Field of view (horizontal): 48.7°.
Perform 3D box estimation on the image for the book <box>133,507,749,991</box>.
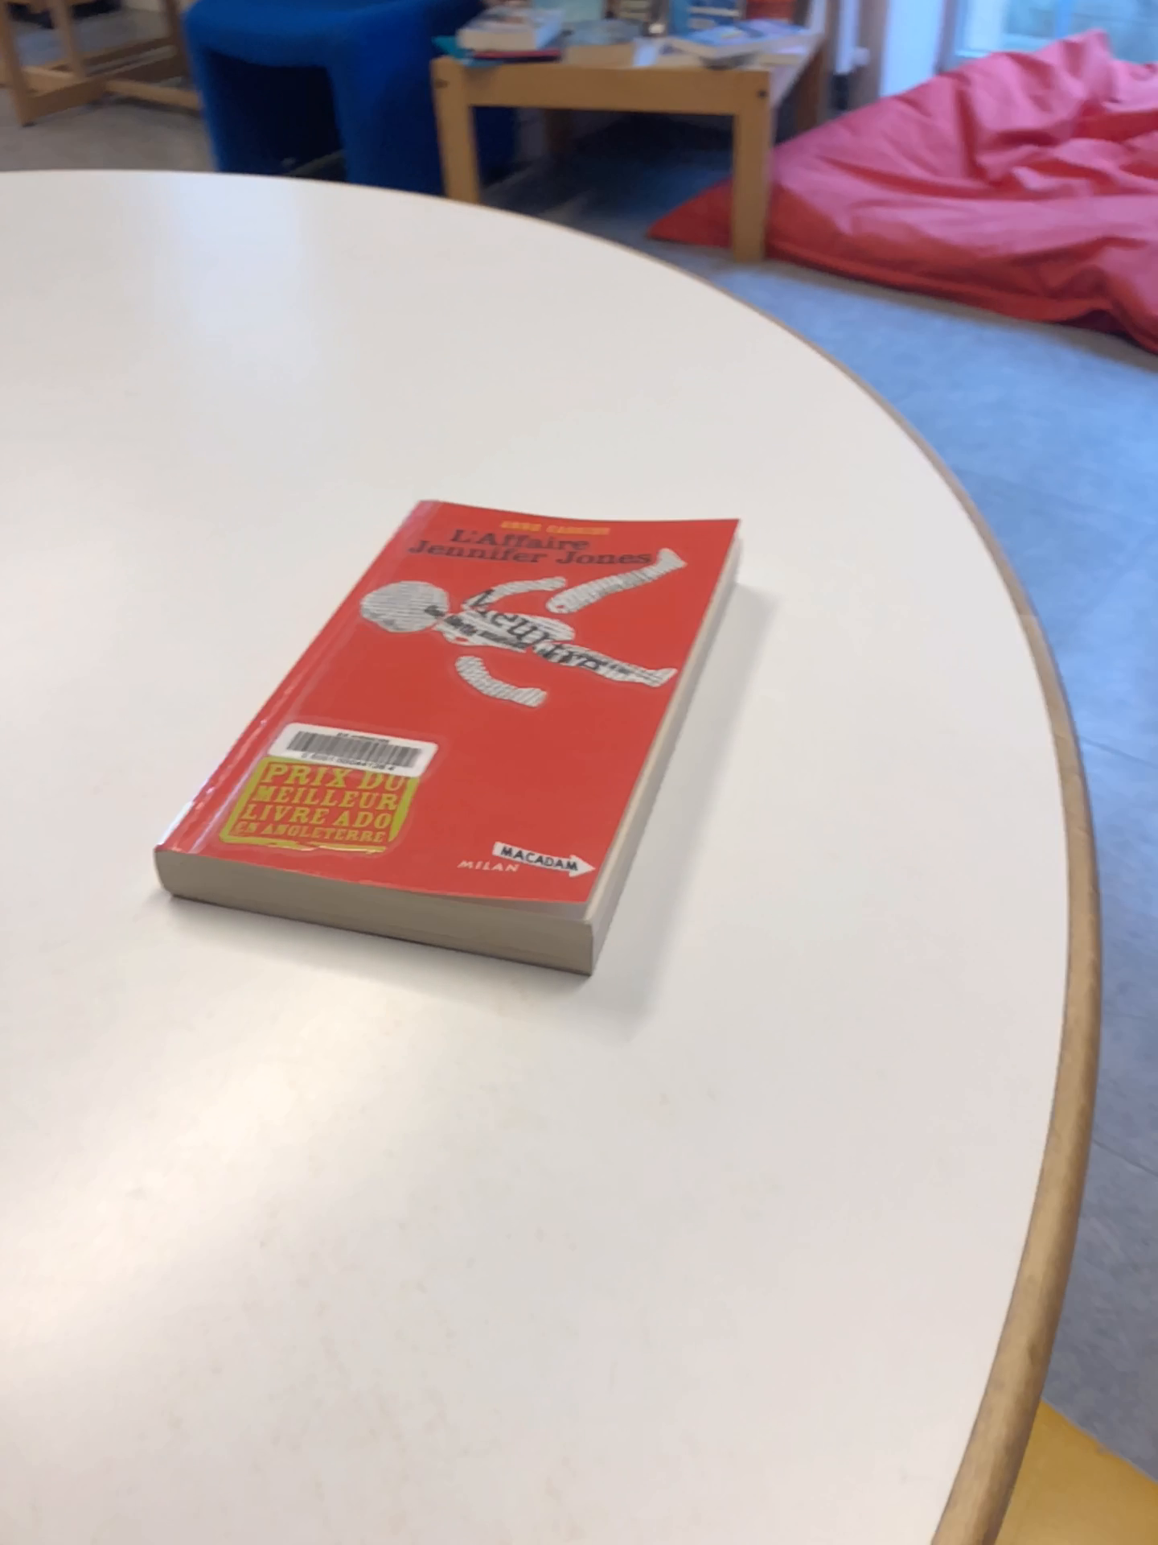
[{"bbox_3d":[-0.030,-0.024,0.423,0.136,0.027,0.204,6,41,16],"label":"book"}]
